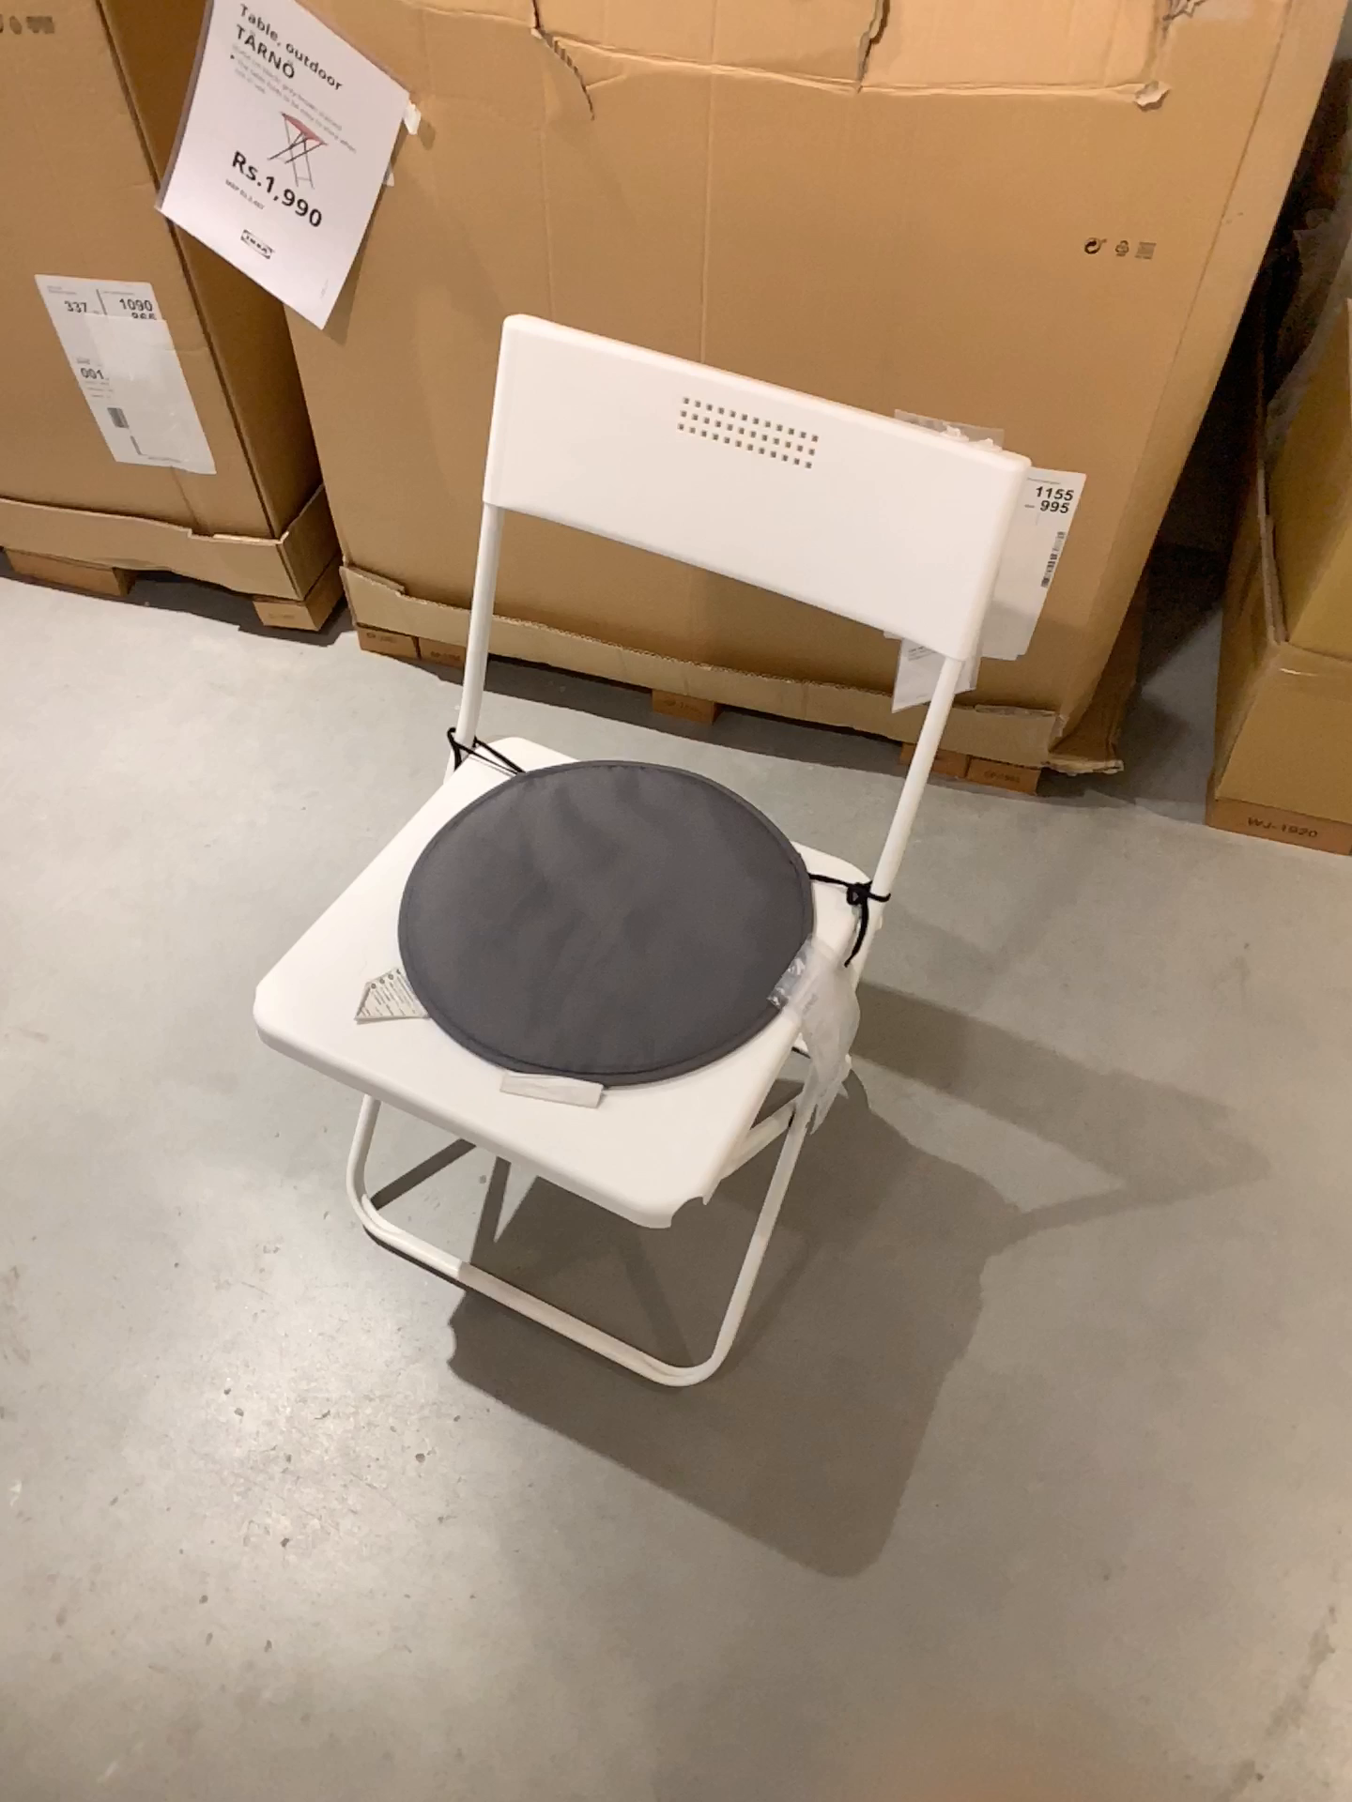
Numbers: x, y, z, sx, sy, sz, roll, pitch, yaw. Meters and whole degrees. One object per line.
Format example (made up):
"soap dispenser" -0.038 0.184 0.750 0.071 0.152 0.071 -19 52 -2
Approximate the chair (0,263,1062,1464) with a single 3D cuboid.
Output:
"chair" -0.082 0.006 1.117 0.490 0.738 0.481 23 54 16
